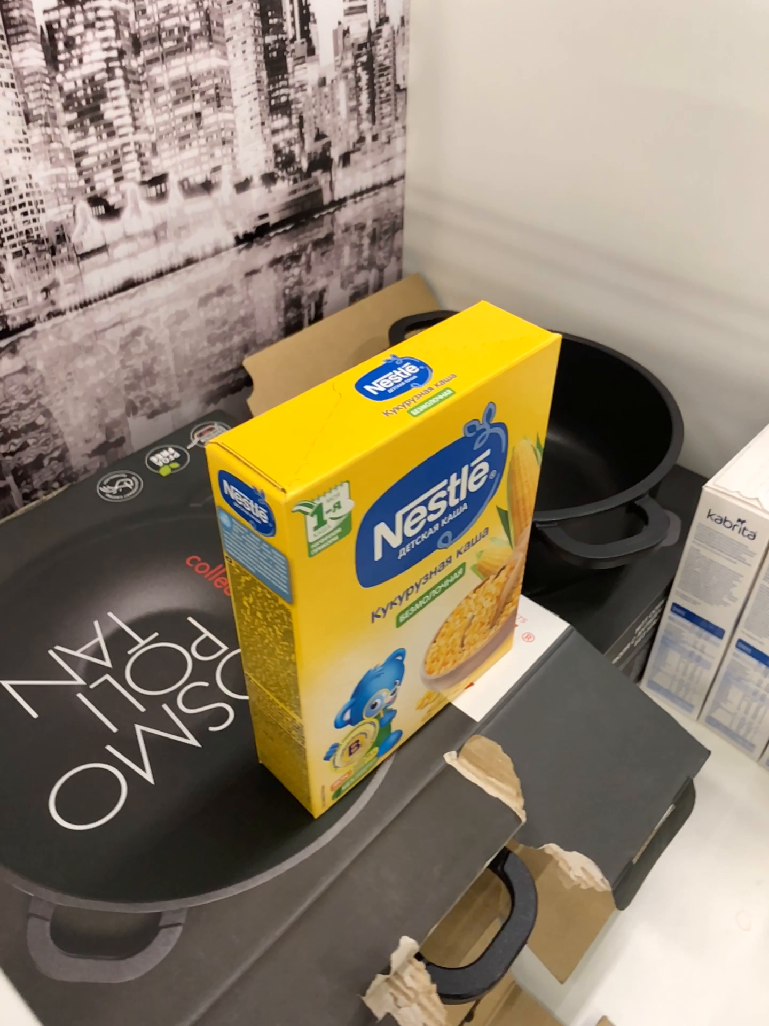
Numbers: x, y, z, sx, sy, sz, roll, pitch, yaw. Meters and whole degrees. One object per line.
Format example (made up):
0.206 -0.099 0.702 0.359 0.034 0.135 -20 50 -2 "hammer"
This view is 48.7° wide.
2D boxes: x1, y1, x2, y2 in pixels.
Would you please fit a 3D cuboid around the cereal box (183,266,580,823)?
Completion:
0.006 0.018 0.370 0.151 0.199 0.050 -33 51 -32 "cereal box"
